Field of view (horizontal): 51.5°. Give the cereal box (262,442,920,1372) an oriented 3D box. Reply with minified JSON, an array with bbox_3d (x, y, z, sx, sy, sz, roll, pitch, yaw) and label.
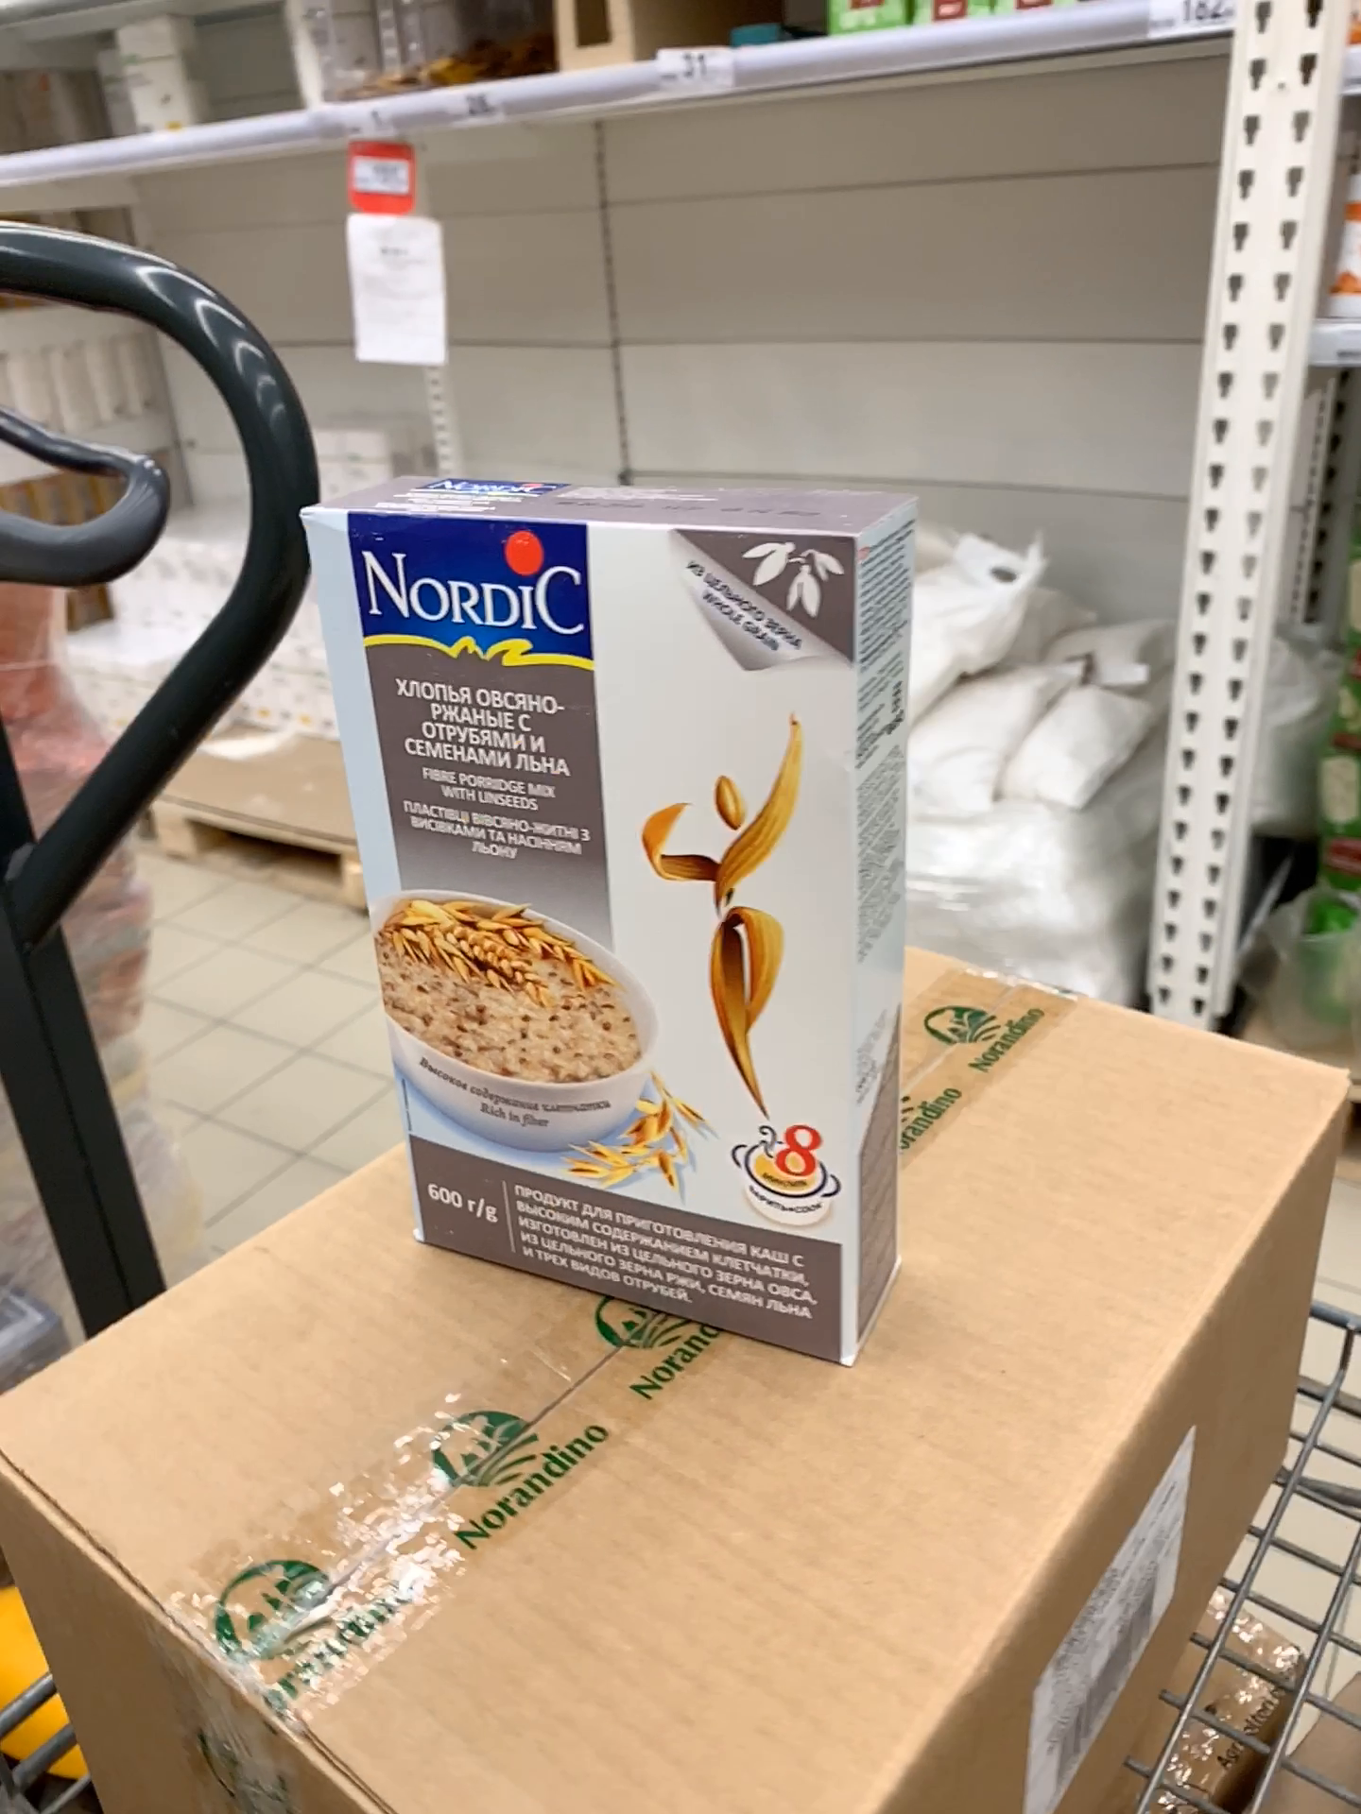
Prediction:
[{"bbox_3d":[-0.016,0.001,0.388,0.150,0.239,0.050,9,30,24],"label":"cereal box"}]
